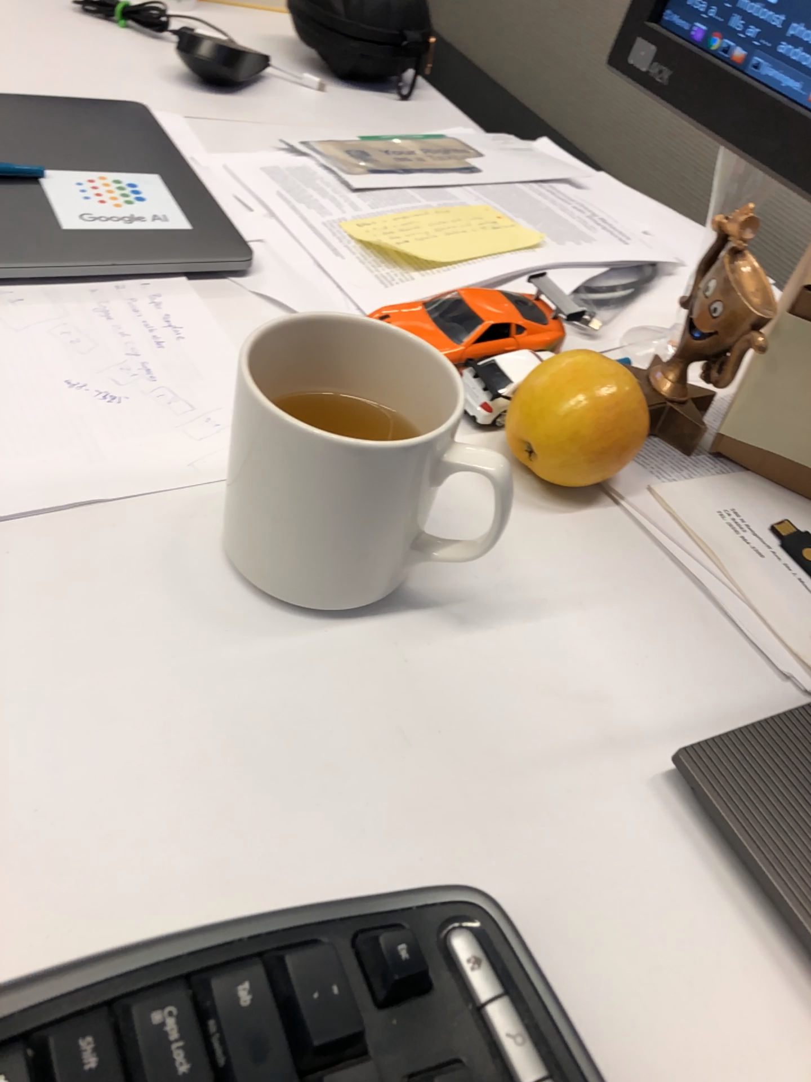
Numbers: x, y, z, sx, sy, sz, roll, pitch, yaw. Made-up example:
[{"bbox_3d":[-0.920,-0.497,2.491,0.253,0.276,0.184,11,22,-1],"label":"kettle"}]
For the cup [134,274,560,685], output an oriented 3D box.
[{"bbox_3d":[-0.022,-0.025,0.322,0.120,0.080,0.080,23,41,7],"label":"cup"}]
